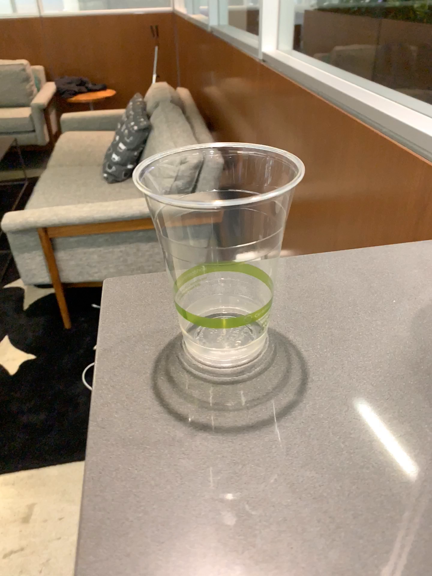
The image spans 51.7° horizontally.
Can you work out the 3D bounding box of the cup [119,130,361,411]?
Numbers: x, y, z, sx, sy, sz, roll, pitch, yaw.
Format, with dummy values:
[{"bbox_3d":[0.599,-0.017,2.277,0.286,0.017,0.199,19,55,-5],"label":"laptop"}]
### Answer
[{"bbox_3d":[0.006,-0.016,0.270,0.100,0.119,0.101,-1,34,1],"label":"cup"}]
